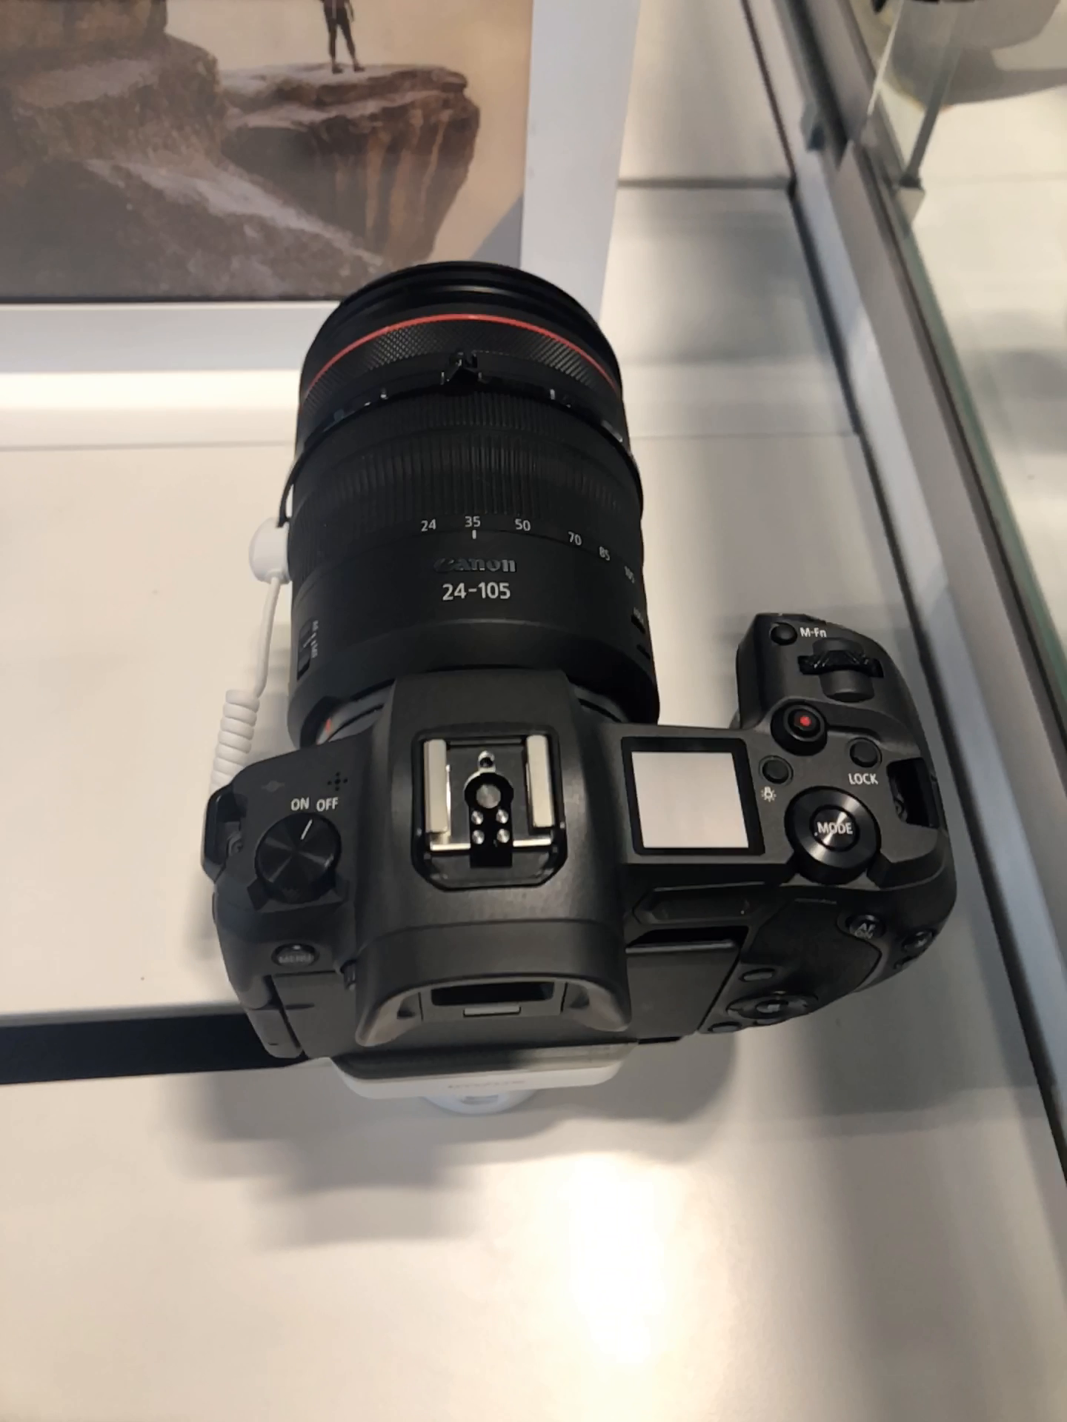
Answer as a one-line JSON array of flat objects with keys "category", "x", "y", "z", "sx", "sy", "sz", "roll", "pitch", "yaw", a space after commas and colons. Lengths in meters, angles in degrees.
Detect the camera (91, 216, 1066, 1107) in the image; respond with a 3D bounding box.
[{"category": "camera", "x": 0.002, "y": -0.012, "z": 0.234, "sx": 0.139, "sy": 0.086, "sz": 0.145, "roll": -3, "pitch": 60, "yaw": -5}]
